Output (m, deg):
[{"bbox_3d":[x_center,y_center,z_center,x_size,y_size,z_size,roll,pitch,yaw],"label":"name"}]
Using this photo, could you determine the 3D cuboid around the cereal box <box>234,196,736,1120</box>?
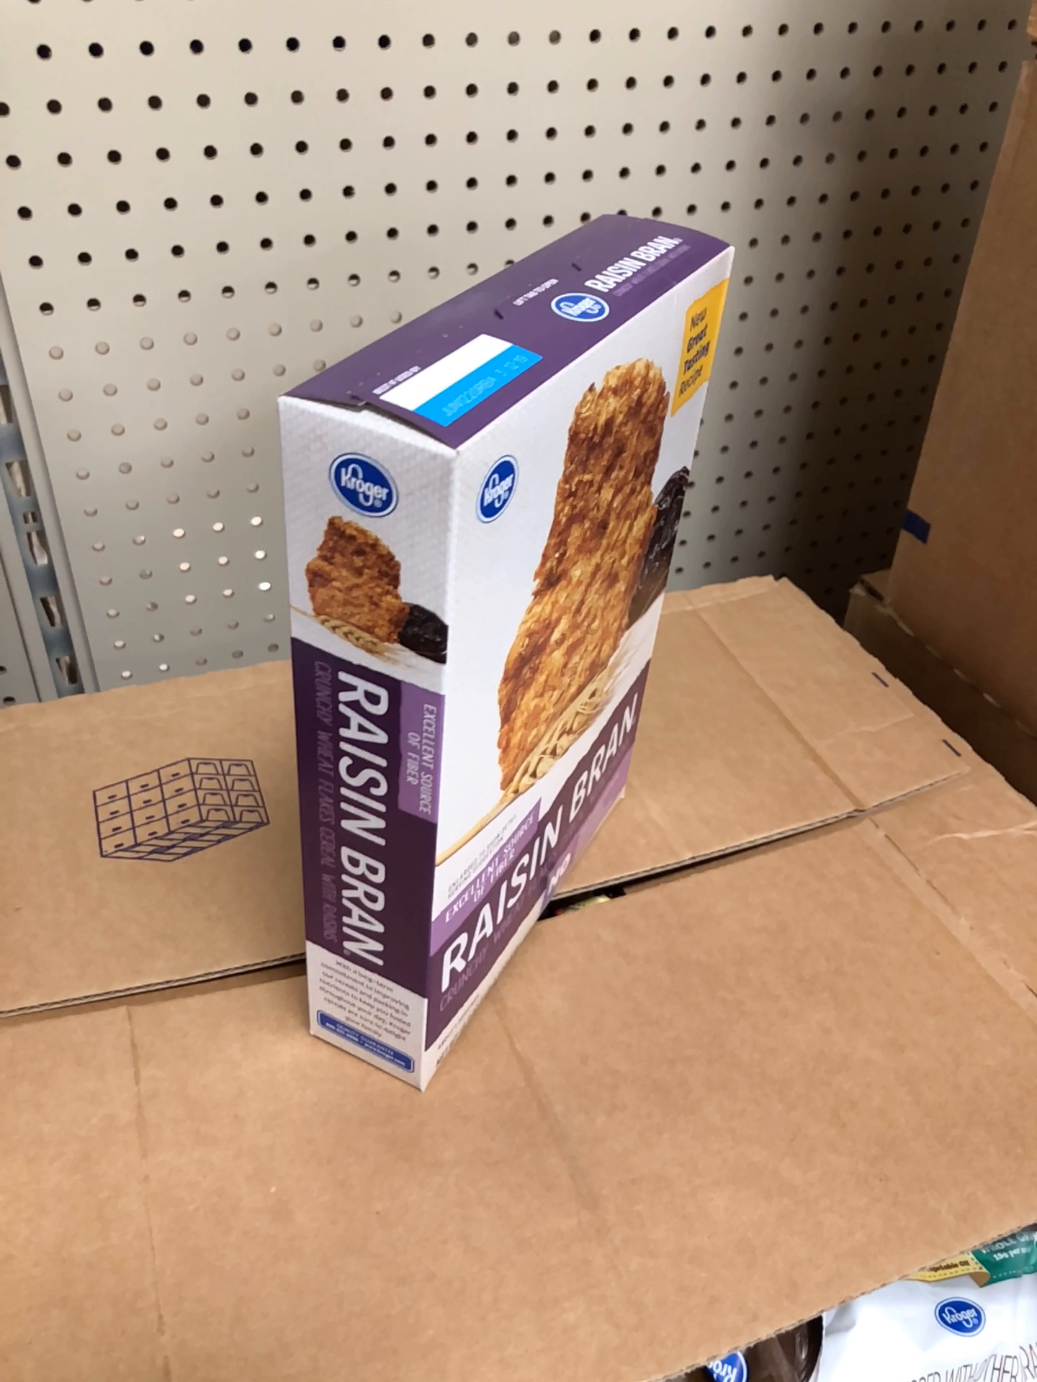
[{"bbox_3d":[-0.006,-0.013,0.418,0.060,0.269,0.200,20,40,18],"label":"cereal box"}]
